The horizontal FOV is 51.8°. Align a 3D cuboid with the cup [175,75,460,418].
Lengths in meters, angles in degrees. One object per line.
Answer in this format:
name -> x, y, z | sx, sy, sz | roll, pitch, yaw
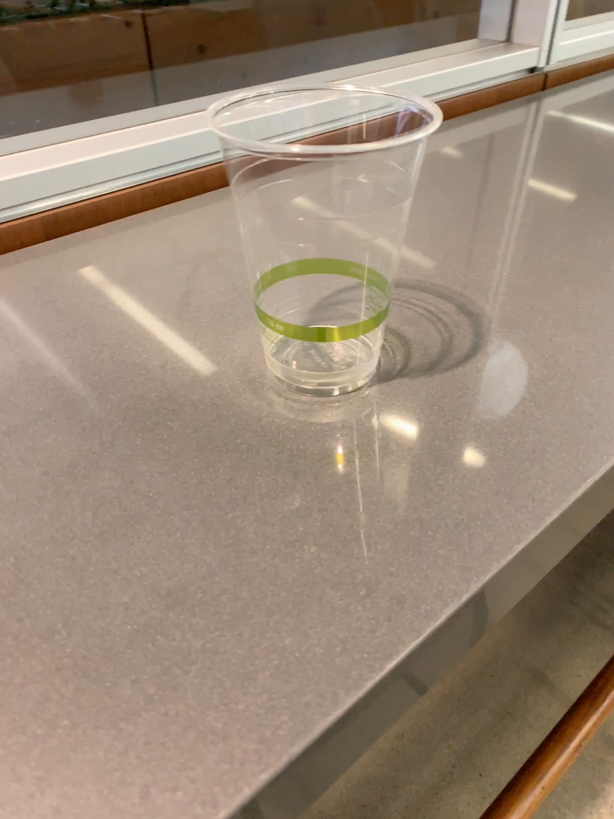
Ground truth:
cup -> 0.013, -0.083, 0.308 | 0.100, 0.119, 0.111 | 8, 40, 11
